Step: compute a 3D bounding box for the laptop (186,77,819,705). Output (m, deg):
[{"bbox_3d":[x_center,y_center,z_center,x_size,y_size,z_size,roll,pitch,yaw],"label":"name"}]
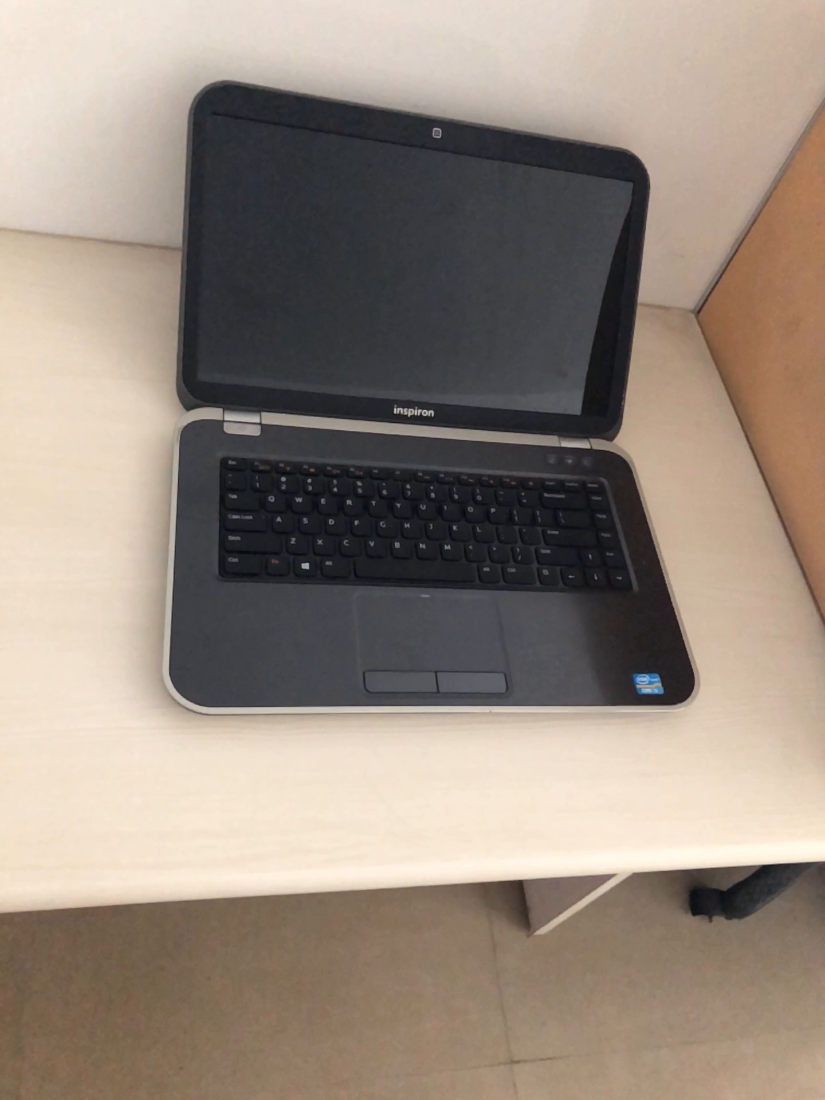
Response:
[{"bbox_3d":[0.025,-0.115,0.639,0.339,0.152,0.410,3,56,-14],"label":"laptop"}]
